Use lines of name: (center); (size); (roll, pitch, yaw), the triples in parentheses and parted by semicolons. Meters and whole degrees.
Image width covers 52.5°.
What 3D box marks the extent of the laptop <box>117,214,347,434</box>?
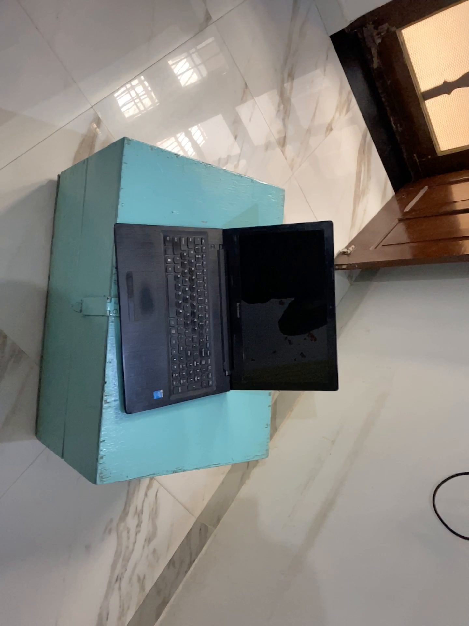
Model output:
laptop: (0.012, 0.005, 0.999); (0.425, 0.190, 0.370); (-5, 94, -38)
